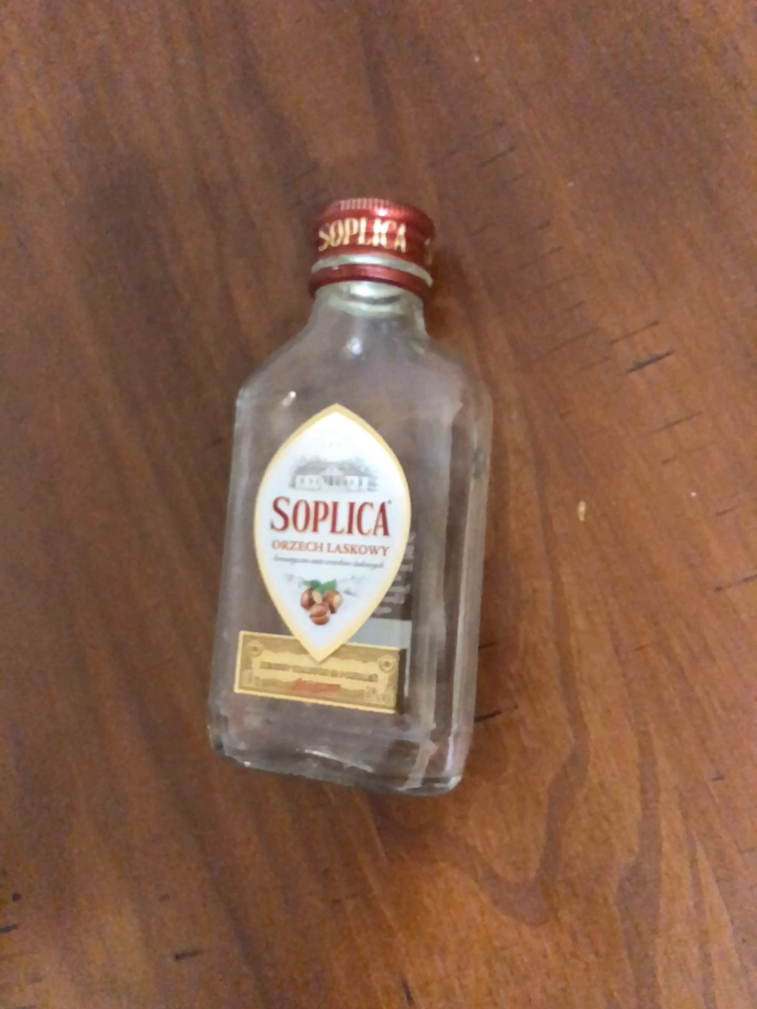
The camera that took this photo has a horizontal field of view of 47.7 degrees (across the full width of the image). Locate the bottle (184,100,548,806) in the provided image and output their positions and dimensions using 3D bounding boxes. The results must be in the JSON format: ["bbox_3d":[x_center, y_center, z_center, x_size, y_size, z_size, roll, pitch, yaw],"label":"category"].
[{"bbox_3d":[-0.001,-0.013,0.206,0.070,0.030,0.150,2,83,22],"label":"bottle"}]
